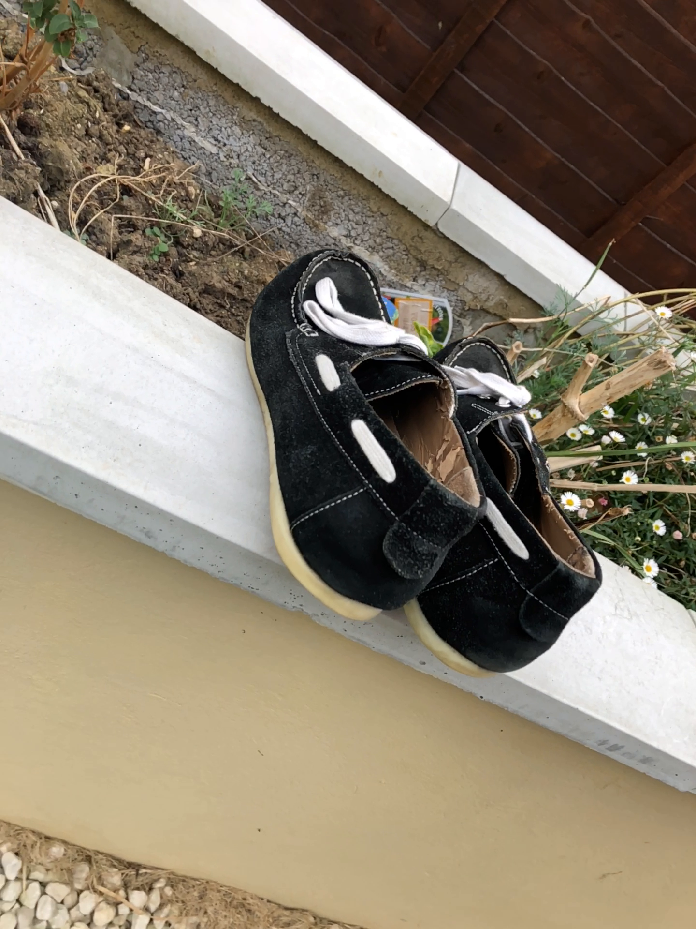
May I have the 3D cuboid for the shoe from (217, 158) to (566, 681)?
[{"bbox_3d":[0.006,-0.049,0.443,0.120,0.089,0.311,25,35,-26],"label":"shoe"}]

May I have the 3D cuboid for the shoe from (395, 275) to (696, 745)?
[{"bbox_3d":[0.104,0.003,0.487,0.110,0.089,0.302,33,32,-18],"label":"shoe"}]
